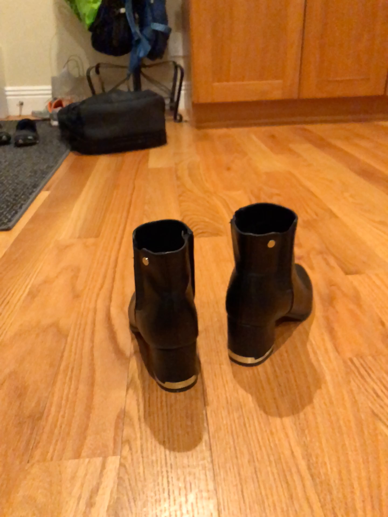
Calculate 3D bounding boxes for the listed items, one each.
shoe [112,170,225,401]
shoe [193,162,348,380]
[{"bbox_3d":[-0.039,0.012,0.517,0.095,0.175,0.237,-6,26,-9],"label":"shoe"},{"bbox_3d":[0.104,-0.004,0.539,0.095,0.175,0.237,13,30,29],"label":"shoe"}]
